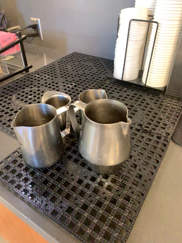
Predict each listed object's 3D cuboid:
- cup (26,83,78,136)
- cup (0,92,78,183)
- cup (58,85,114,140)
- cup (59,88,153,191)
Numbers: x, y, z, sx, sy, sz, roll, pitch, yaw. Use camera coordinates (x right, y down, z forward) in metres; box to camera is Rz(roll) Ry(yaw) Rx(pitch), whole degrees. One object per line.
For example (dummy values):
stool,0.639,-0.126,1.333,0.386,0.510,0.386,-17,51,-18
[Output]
cup,-0.095,-0.034,0.457,0.070,0.070,0.111,-29,46,-32
cup,-0.101,0.028,0.385,0.080,0.119,0.120,30,47,33
cup,-0.009,-0.025,0.447,0.070,0.070,0.110,31,47,33
cup,0.024,0.028,0.375,0.100,0.119,0.141,-30,47,-32
